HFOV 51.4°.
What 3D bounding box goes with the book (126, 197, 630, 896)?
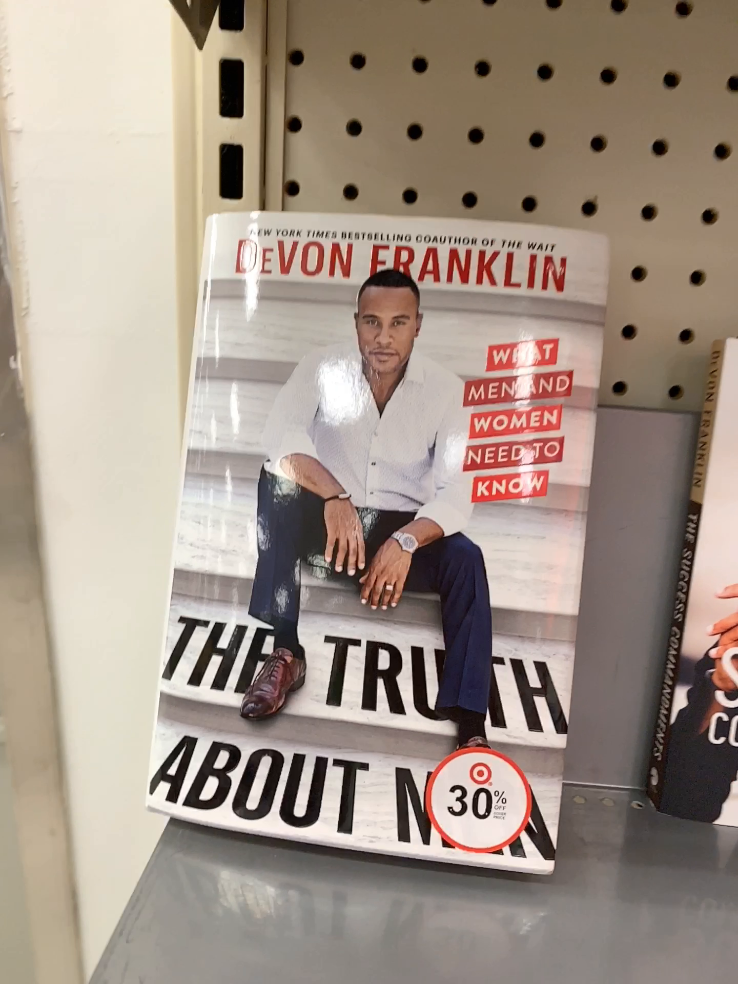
[{"bbox_3d":[0.004,0.015,0.296,0.160,0.236,0.040,5,-2,6],"label":"book"}]
